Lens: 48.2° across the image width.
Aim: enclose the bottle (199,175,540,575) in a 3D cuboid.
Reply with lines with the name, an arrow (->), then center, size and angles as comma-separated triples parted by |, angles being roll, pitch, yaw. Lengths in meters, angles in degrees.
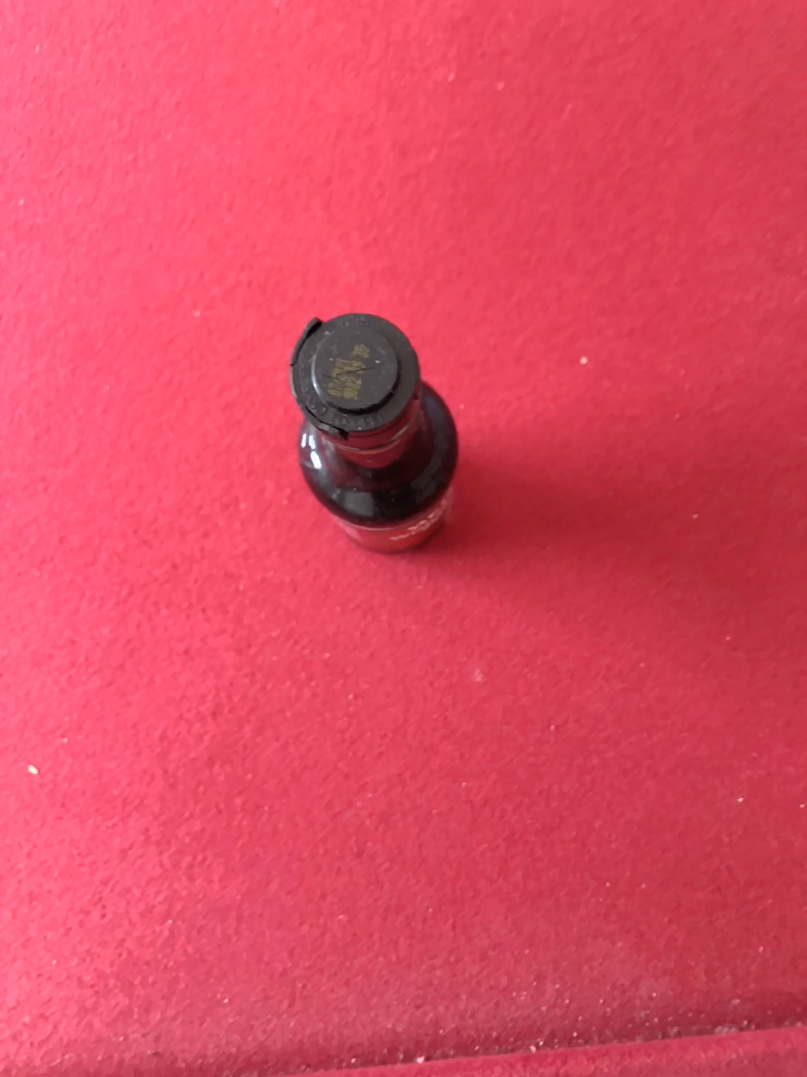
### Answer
bottle -> -0.005, -0.031, 0.274 | 0.050, 0.180, 0.050 | 0, 83, 1
